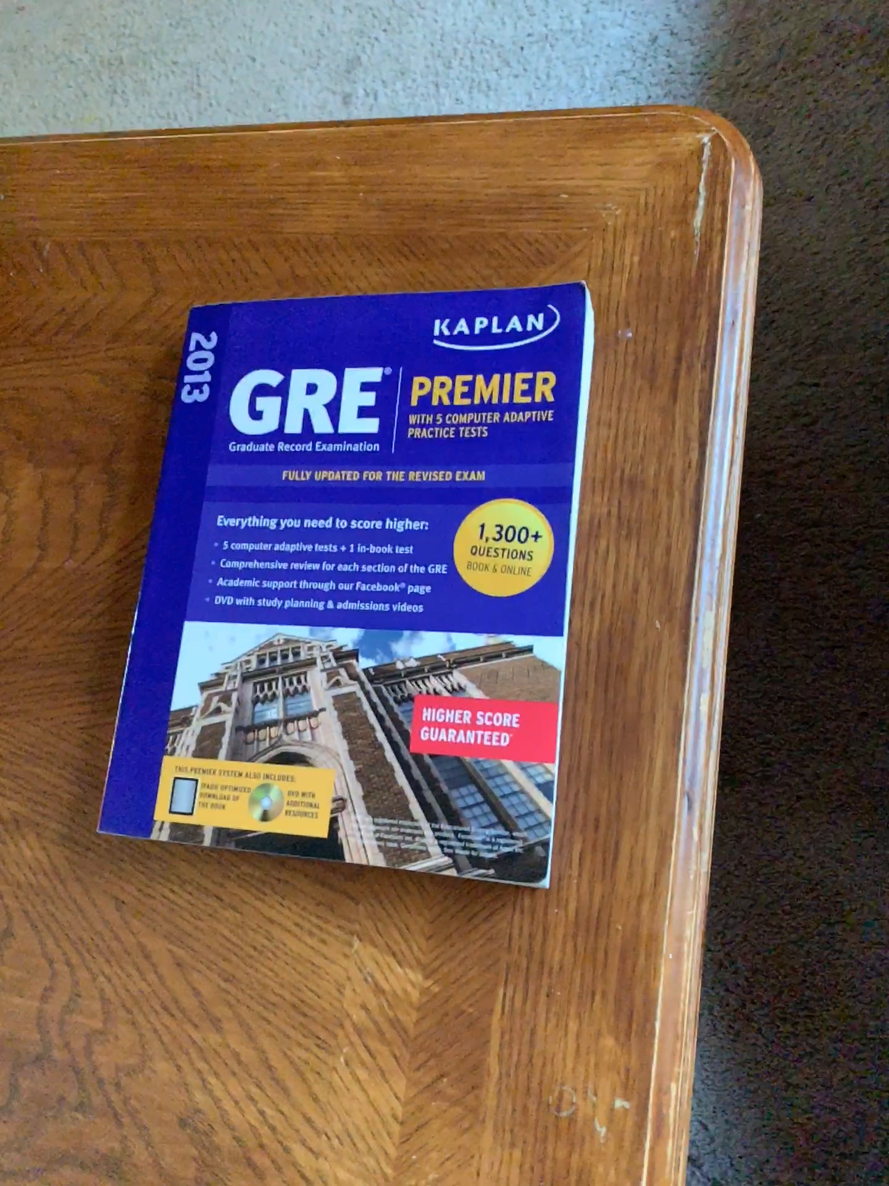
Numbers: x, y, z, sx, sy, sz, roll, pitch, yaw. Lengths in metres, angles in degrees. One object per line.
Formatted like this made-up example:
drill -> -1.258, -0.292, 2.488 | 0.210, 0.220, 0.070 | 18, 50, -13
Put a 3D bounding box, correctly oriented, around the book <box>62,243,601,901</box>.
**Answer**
book -> -0.046, -0.018, 0.444 | 0.220, 0.060, 0.290 | 2, 77, 15
